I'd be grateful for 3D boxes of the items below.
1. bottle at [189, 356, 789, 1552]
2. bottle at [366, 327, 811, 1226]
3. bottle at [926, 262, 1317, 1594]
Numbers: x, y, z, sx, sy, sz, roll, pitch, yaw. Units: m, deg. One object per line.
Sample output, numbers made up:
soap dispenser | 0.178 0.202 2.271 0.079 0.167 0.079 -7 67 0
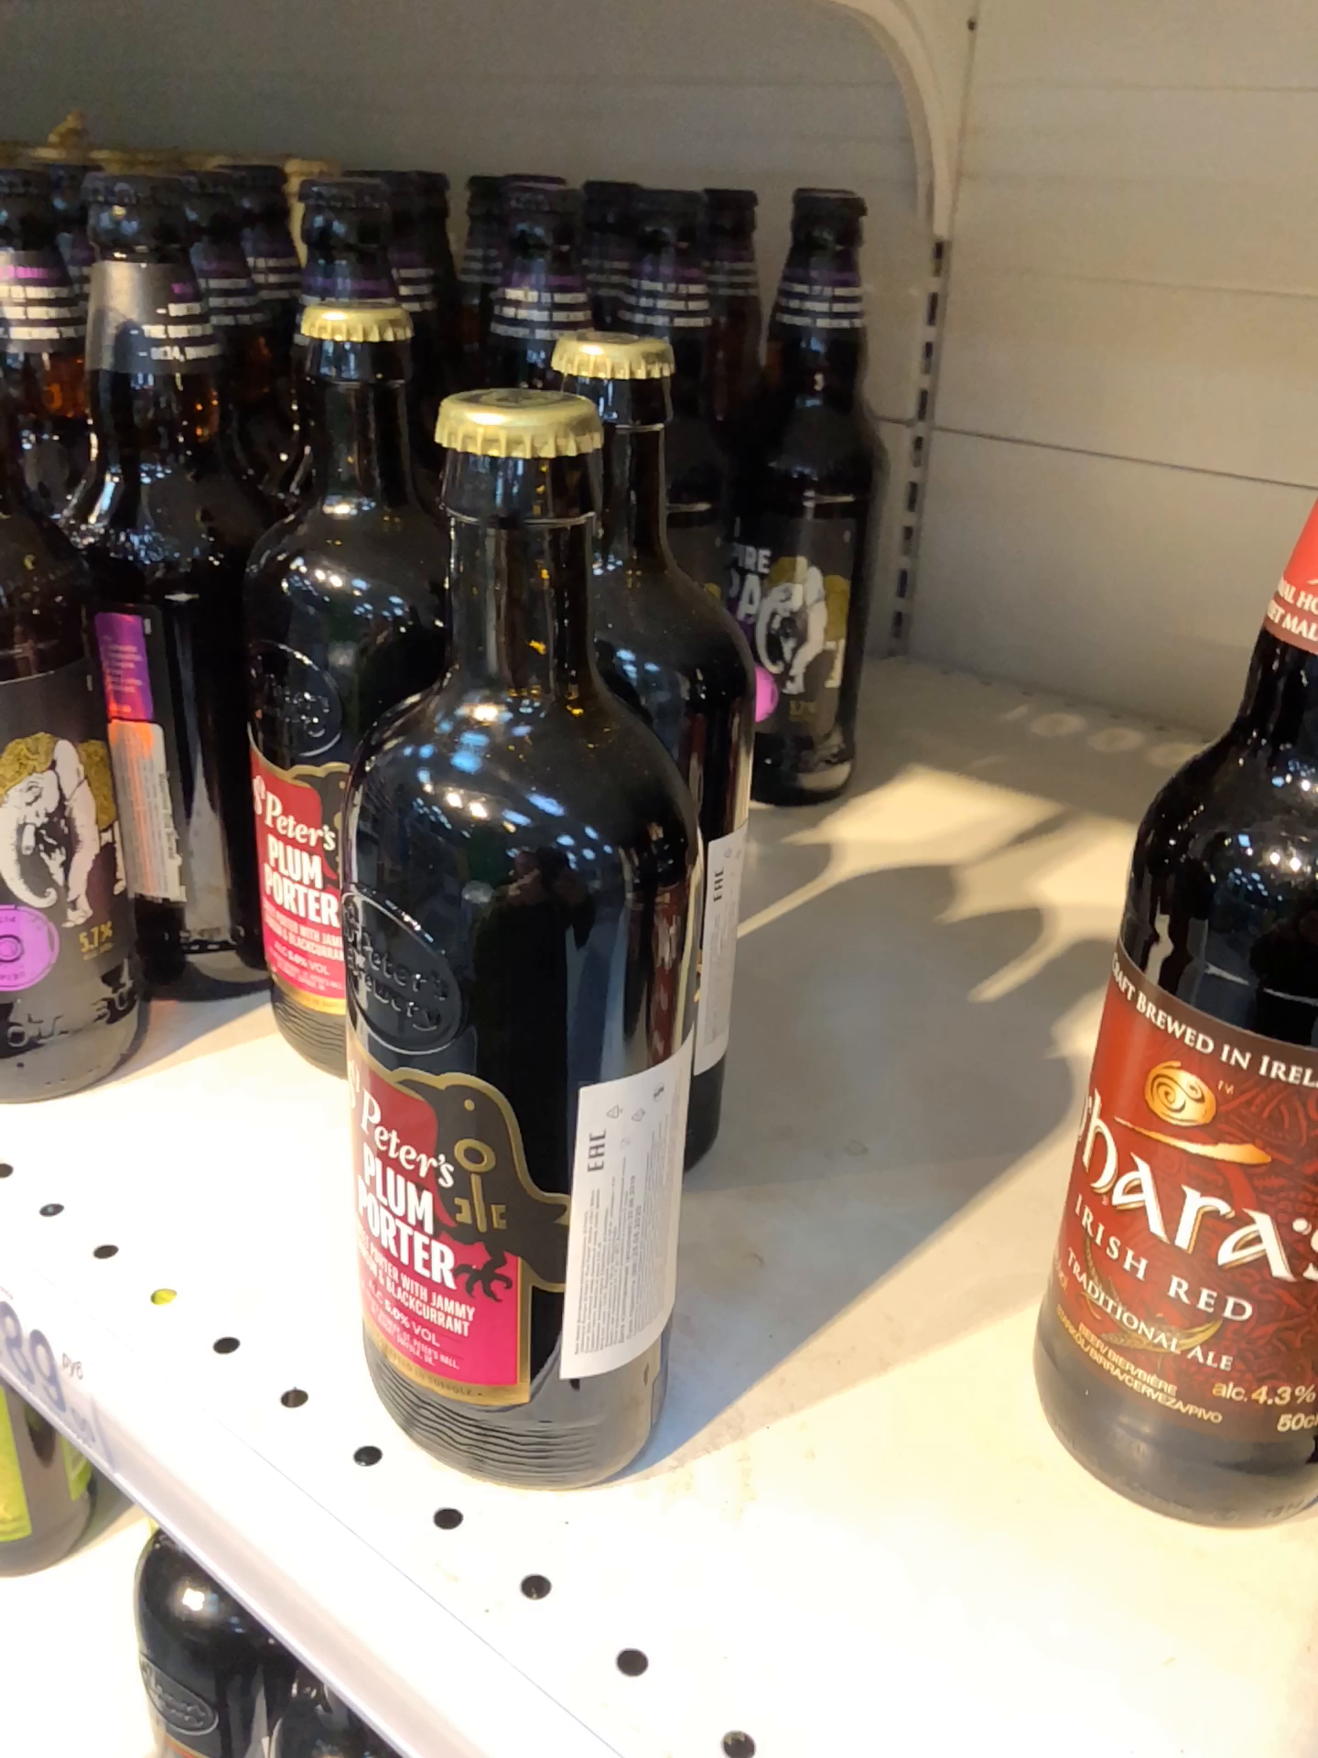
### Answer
bottle | -0.033 0.015 0.284 0.082 0.209 0.058 23 32 37
bottle | -0.019 -0.027 0.385 0.079 0.213 0.070 16 29 27
bottle | 0.114 0.011 0.275 0.069 0.231 0.072 2 25 -1
